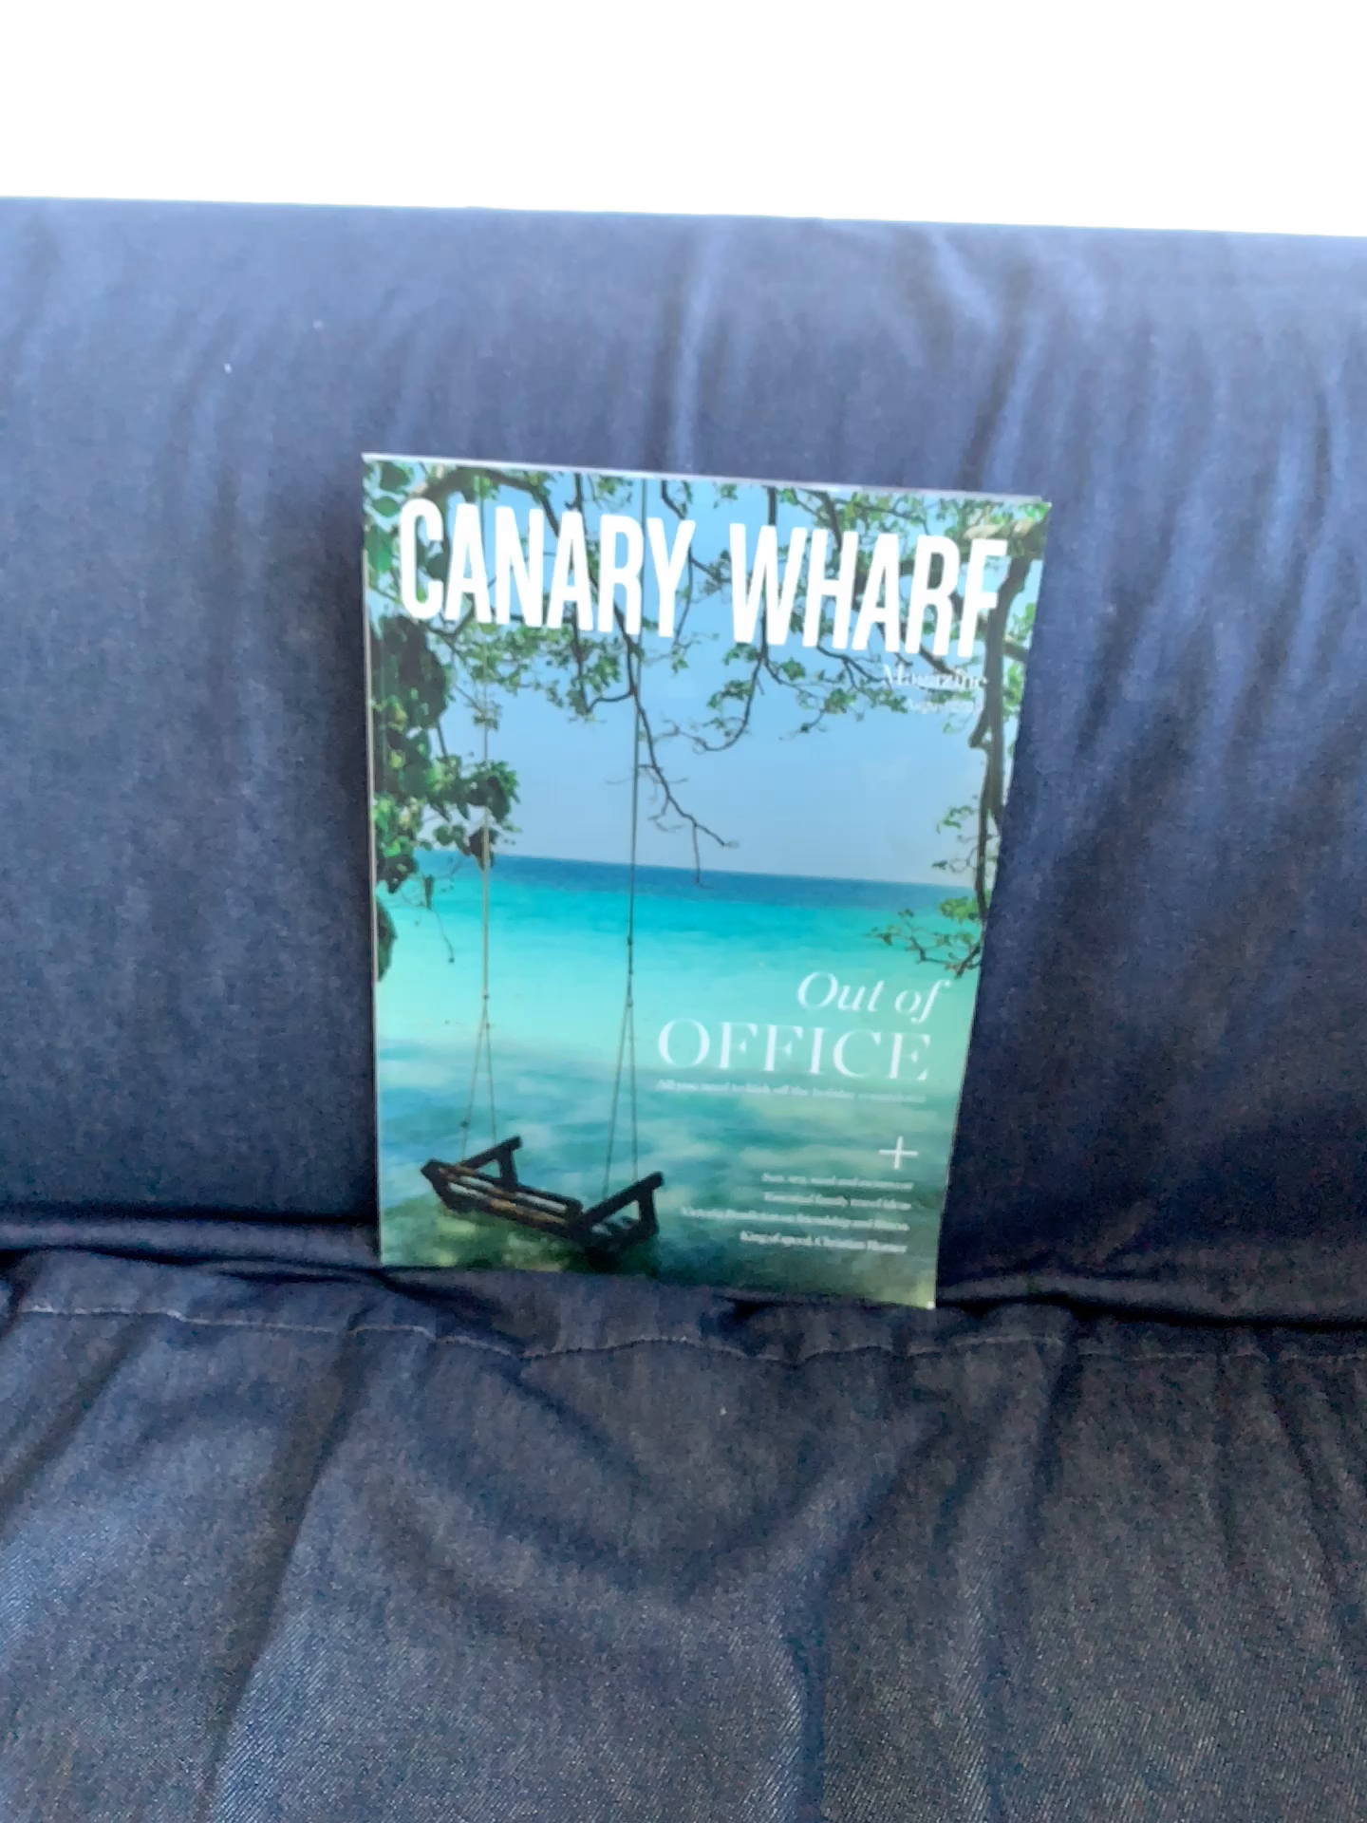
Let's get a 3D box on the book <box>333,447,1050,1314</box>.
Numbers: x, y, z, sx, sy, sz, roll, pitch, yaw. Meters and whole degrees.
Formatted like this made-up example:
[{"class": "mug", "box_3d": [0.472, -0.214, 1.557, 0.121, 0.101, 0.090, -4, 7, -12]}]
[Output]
[{"class": "book", "box_3d": [-0.004, -0.002, 0.463, 0.205, 0.273, 0.030, 4, 19, 3]}]
